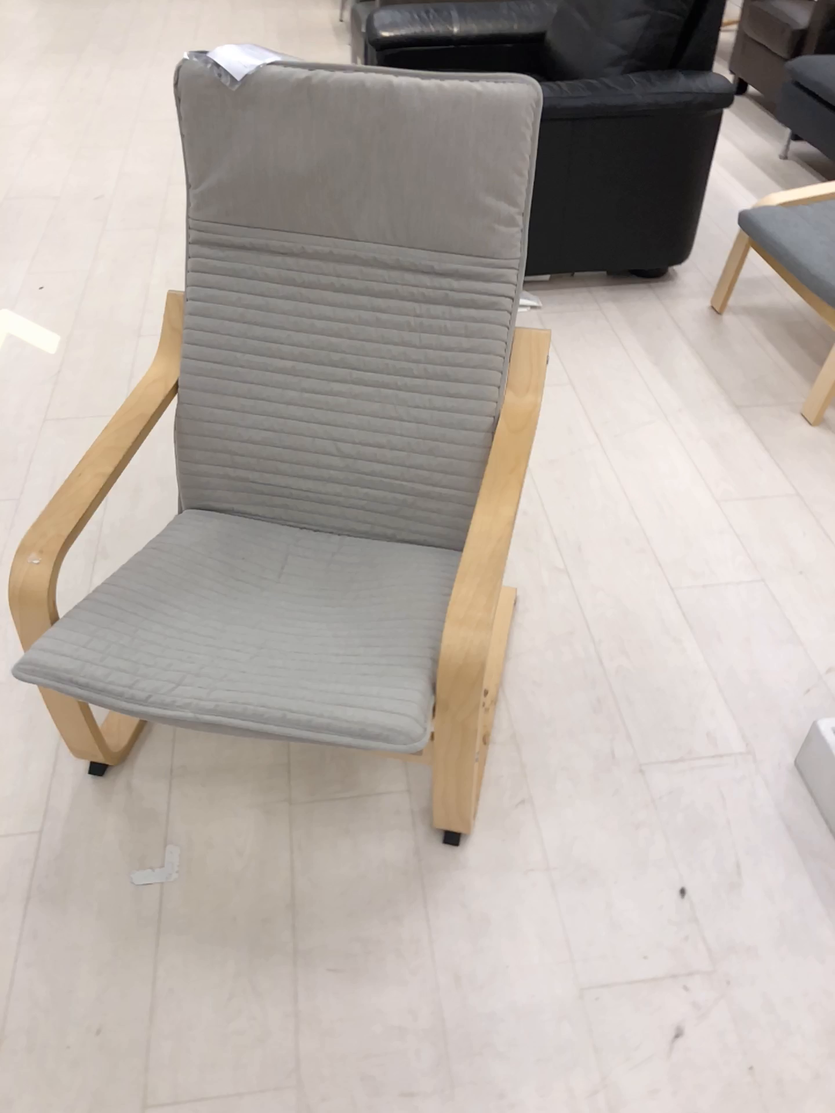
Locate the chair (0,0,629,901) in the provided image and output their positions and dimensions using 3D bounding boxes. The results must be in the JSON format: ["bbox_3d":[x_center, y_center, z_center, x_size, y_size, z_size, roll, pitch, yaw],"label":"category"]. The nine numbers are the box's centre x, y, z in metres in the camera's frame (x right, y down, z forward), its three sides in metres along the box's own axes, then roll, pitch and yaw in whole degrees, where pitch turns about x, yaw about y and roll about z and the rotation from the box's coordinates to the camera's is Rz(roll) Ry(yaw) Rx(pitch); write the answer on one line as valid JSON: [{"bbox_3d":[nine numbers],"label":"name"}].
[{"bbox_3d":[-0.176,-0.165,1.314,0.730,0.996,0.703,10,42,10],"label":"chair"}]
